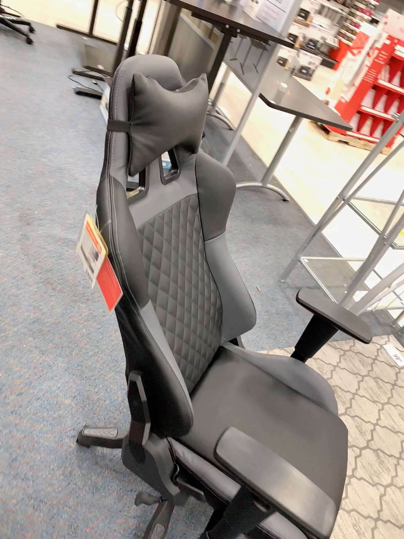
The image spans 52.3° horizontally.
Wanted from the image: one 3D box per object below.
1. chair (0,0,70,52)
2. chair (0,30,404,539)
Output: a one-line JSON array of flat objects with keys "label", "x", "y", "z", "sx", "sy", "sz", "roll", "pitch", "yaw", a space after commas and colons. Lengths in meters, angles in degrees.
[{"label": "chair", "x": -1.645, "y": -2.555, "z": 3.394, "sx": 0.677, "sy": 0.982, "sz": 0.873, "roll": -6, "pitch": 47, "yaw": -37}, {"label": "chair", "x": 0.077, "y": 0.170, "z": 1.049, "sx": 0.911, "sy": 1.061, "sz": 0.789, "roll": 32, "pitch": 36, "yaw": 8}]
